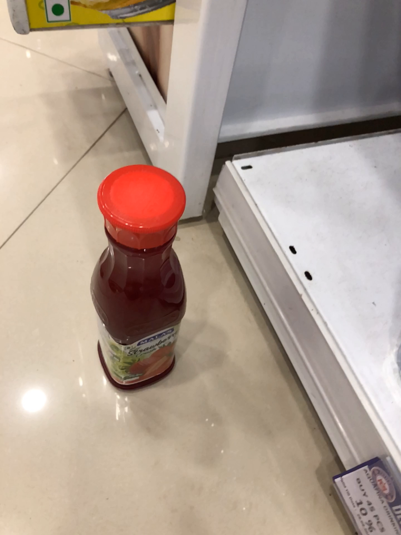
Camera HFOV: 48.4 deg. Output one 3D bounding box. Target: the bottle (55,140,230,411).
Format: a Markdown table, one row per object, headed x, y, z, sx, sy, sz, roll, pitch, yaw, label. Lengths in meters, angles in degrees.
| x | y | z | sx | sy | sz | roll | pitch | yaw | label |
| --- | --- | --- | --- | --- | --- | --- | --- | --- | --- |
| -0.052 | 0.027 | 0.359 | 0.080 | 0.249 | 0.070 | -19 | 60 | -22 | bottle |
